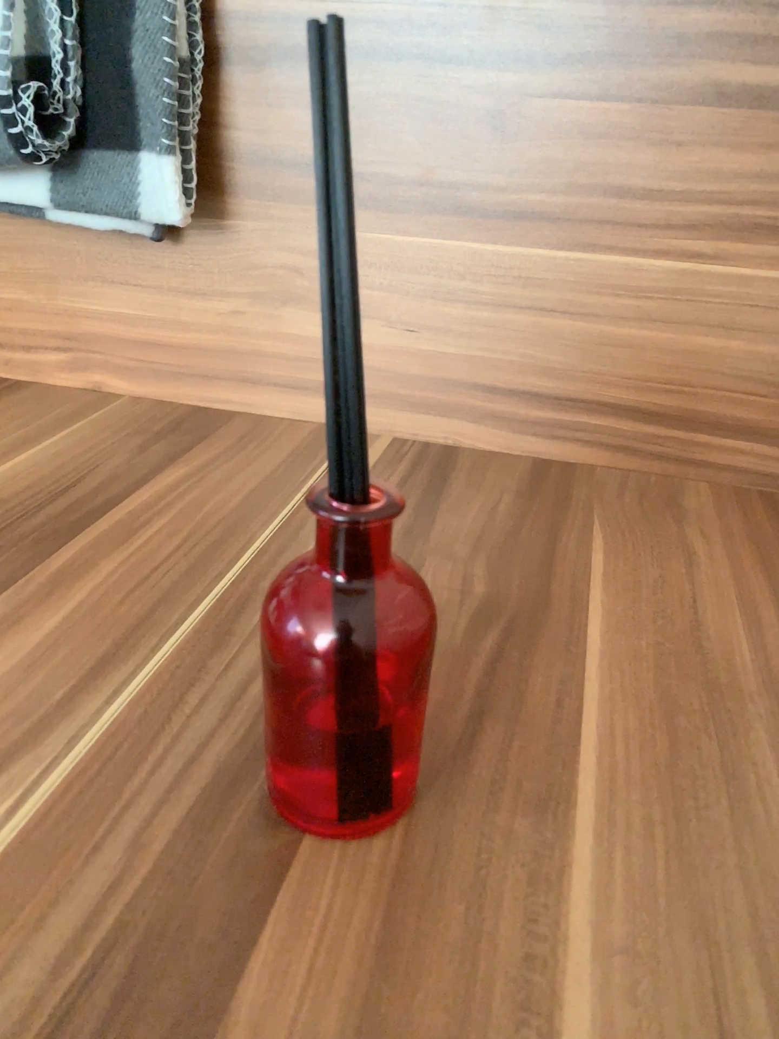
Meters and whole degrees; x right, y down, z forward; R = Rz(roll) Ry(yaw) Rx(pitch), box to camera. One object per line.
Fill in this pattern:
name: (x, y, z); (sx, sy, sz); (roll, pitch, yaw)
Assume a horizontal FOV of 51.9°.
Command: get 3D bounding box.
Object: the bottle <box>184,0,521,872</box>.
bottle: (-0.012, -0.012, 0.229); (0.060, 0.239, 0.050); (12, 28, 16)
